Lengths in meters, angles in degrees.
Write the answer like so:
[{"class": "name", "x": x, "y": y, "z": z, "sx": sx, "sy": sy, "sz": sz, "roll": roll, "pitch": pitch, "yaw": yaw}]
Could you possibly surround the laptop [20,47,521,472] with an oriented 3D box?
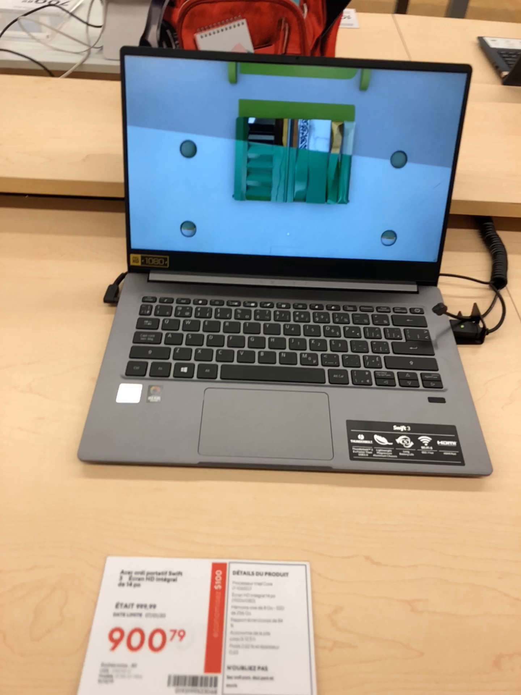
[{"class": "laptop", "x": 0.028, "y": -0.086, "z": 0.475, "sx": 0.315, "sy": 0.177, "sz": 0.312, "roll": 2, "pitch": 48, "yaw": -2}]
